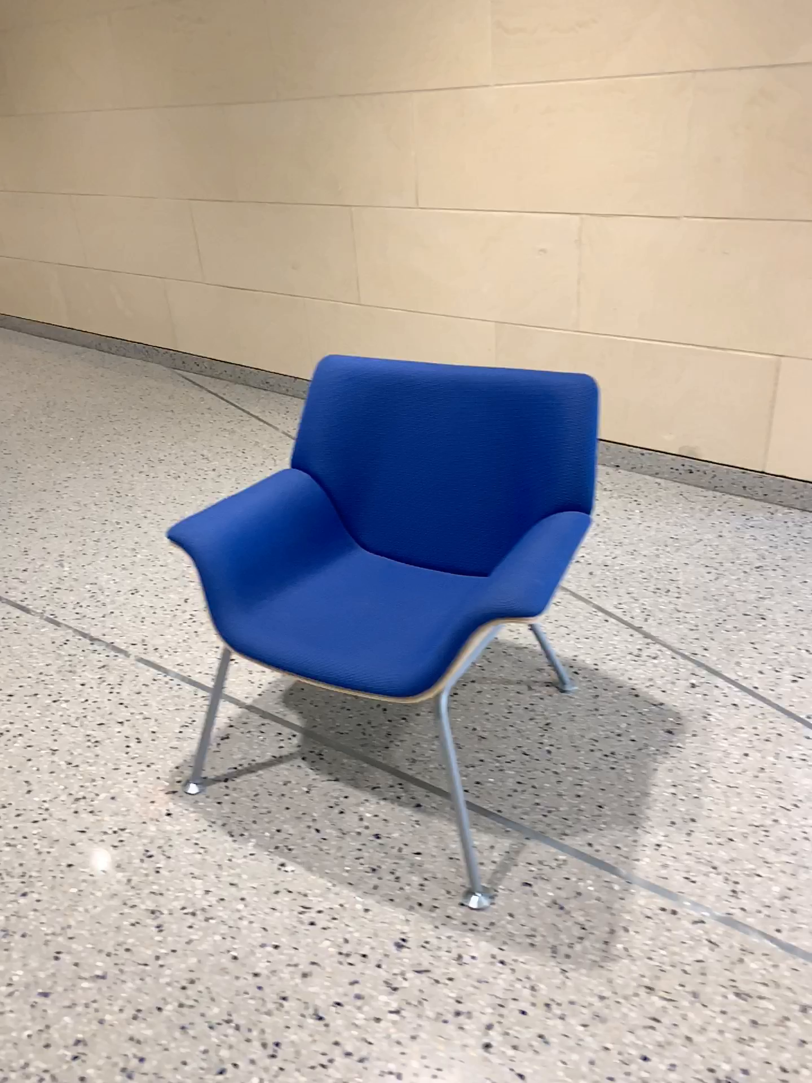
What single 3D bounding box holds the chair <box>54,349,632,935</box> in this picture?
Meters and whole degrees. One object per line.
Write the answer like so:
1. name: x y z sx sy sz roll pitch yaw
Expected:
1. chair: -0.049 0.102 1.690 0.780 0.728 0.762 11 33 27
